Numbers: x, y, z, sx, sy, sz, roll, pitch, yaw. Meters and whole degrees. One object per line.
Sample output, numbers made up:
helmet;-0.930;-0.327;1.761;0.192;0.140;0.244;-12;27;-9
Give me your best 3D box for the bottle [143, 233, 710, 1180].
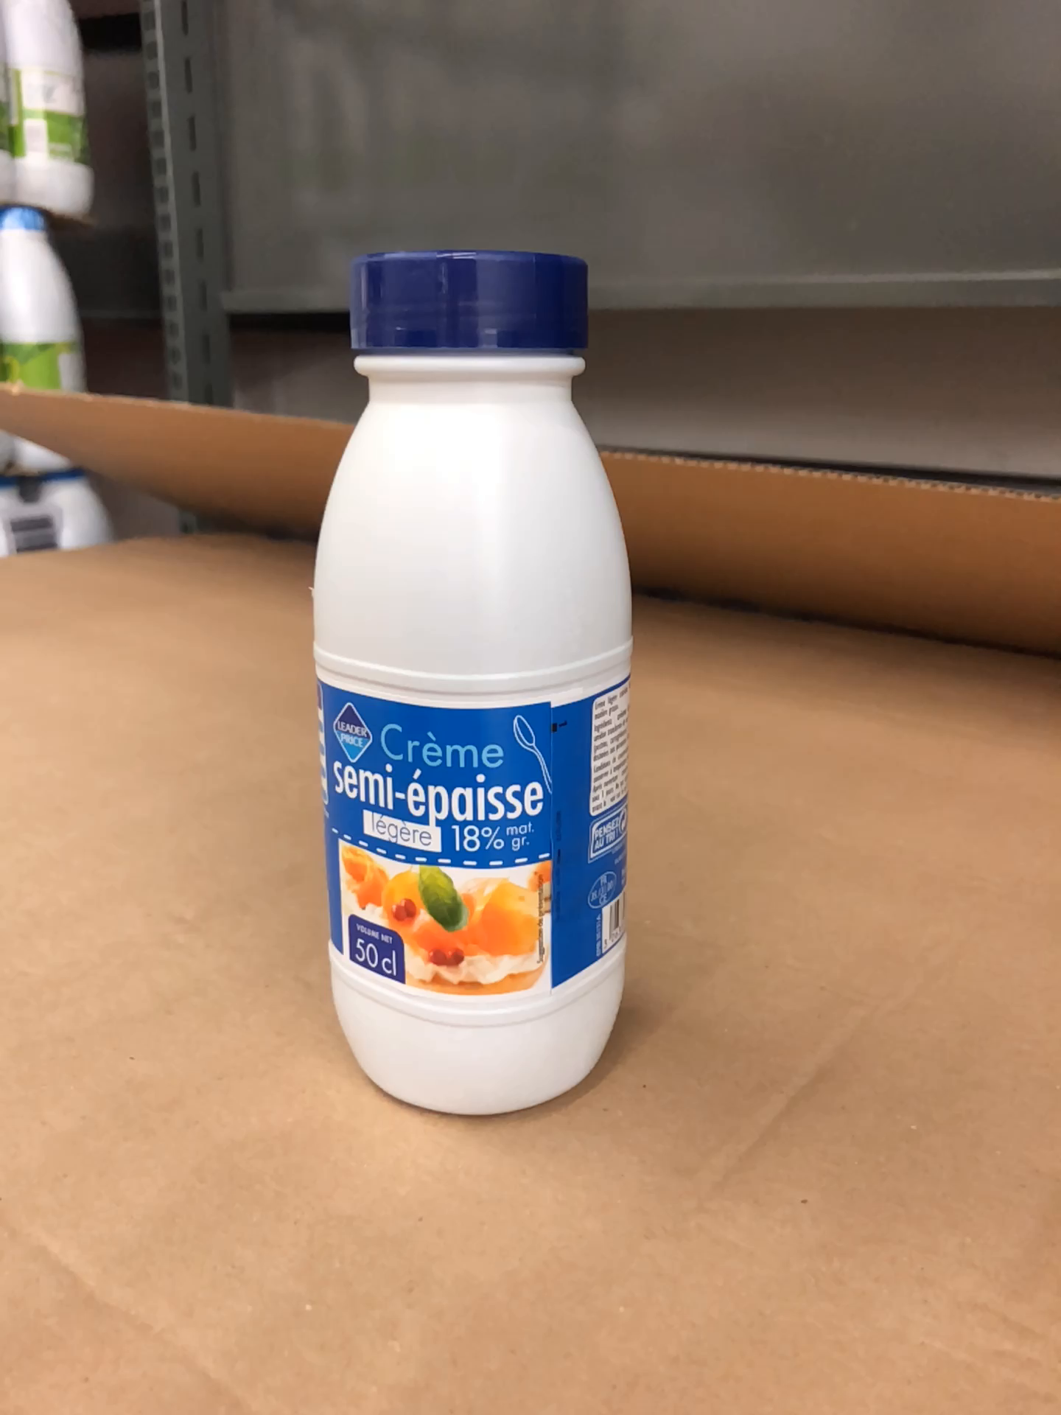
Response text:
bottle;-0.017;-0.007;0.255;0.080;0.169;0.080;0;16;0
